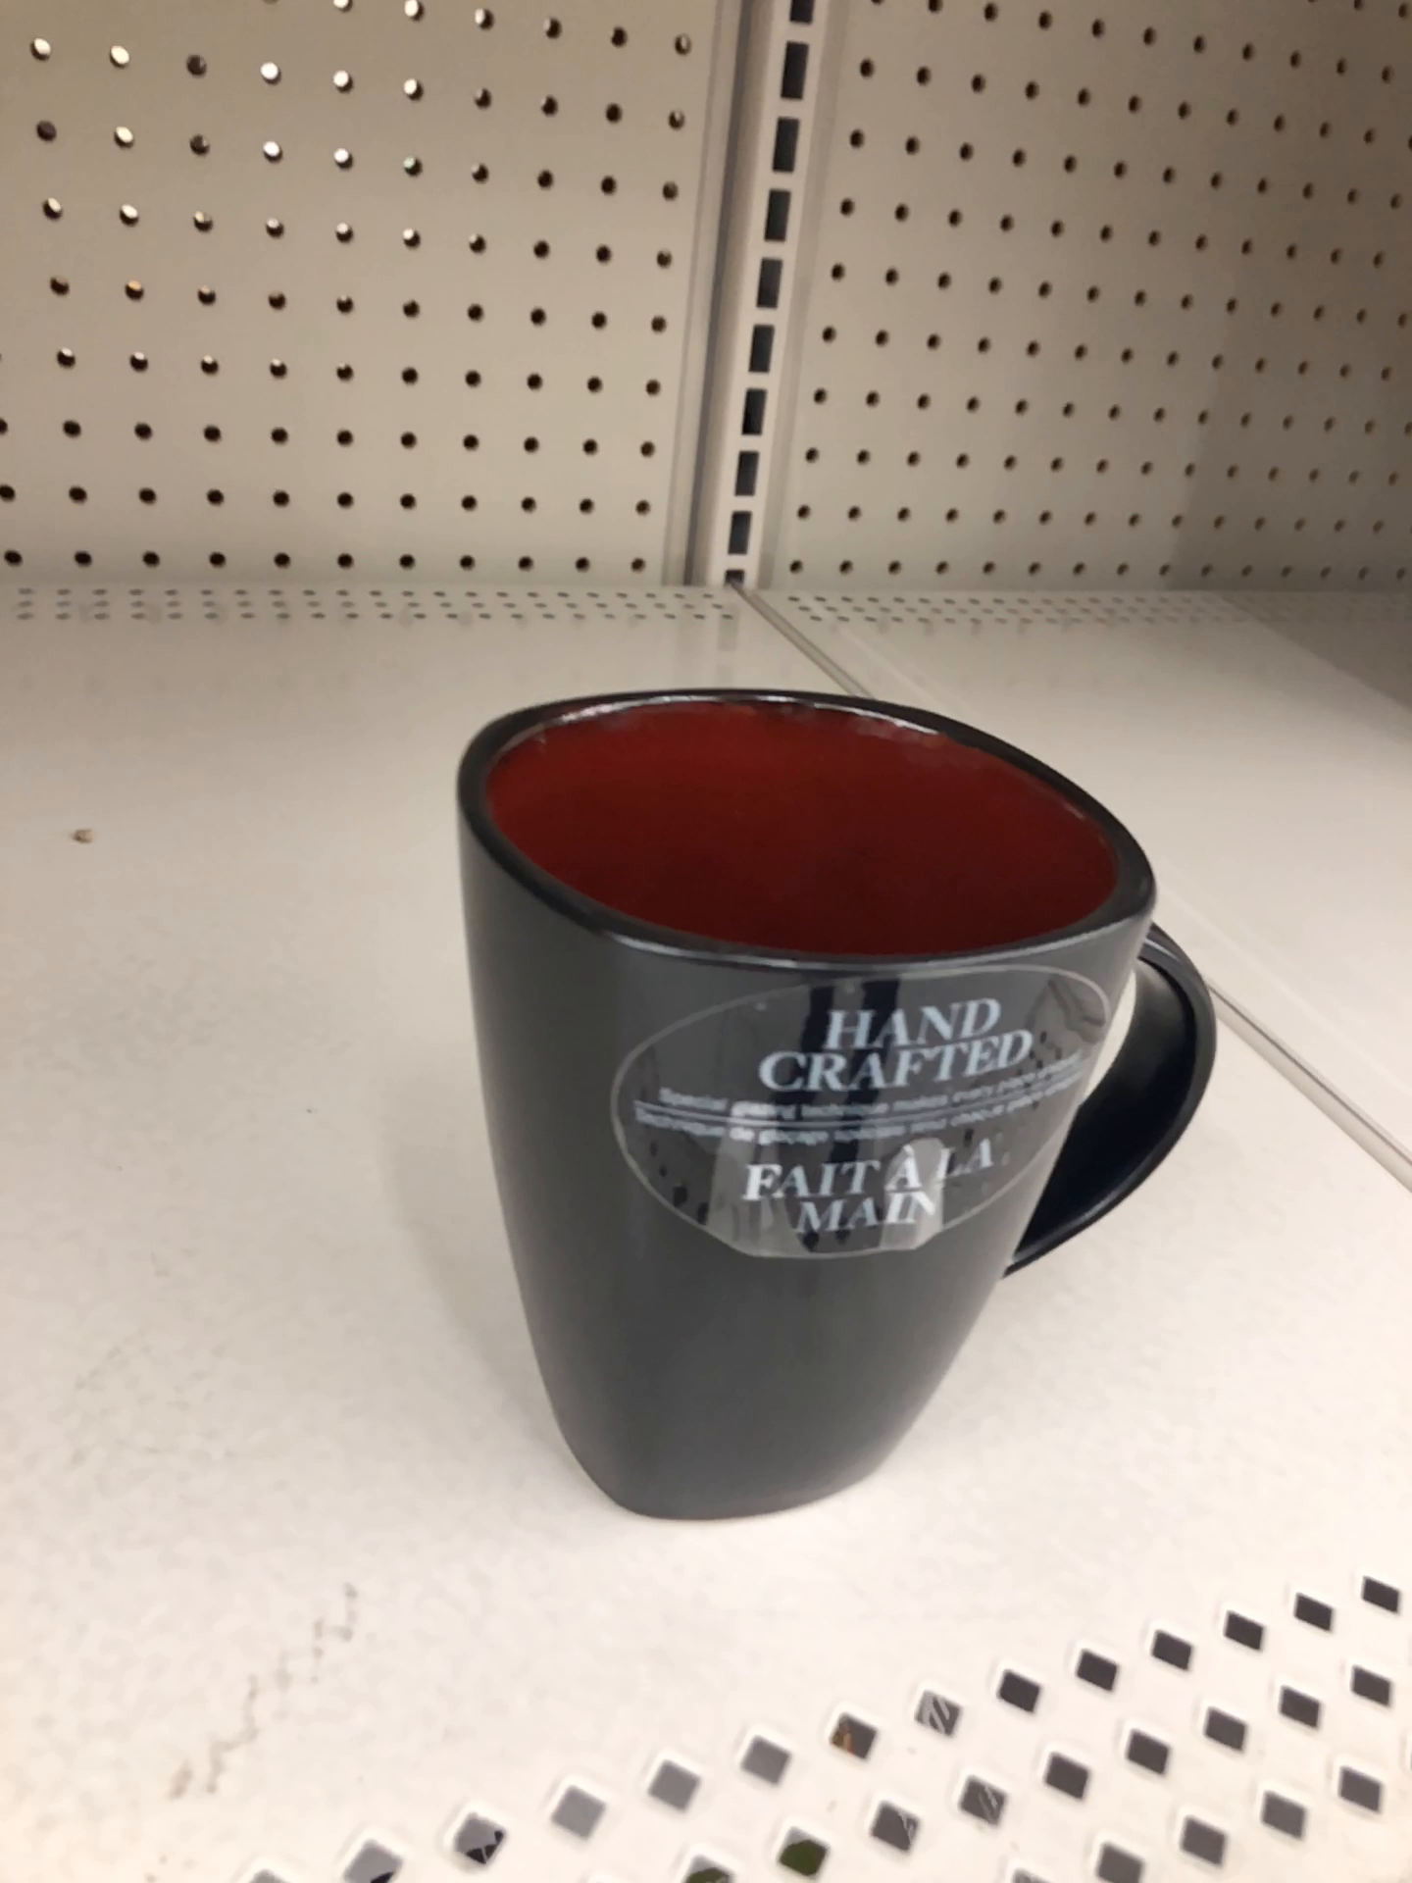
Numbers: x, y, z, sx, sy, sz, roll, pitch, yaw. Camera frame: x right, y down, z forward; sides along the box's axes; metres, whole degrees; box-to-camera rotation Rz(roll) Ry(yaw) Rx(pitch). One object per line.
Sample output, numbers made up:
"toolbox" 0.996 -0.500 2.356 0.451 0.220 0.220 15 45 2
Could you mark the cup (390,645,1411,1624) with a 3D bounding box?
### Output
"cup" 0.030 0.018 0.252 0.143 0.099 0.100 -5 31 -21
